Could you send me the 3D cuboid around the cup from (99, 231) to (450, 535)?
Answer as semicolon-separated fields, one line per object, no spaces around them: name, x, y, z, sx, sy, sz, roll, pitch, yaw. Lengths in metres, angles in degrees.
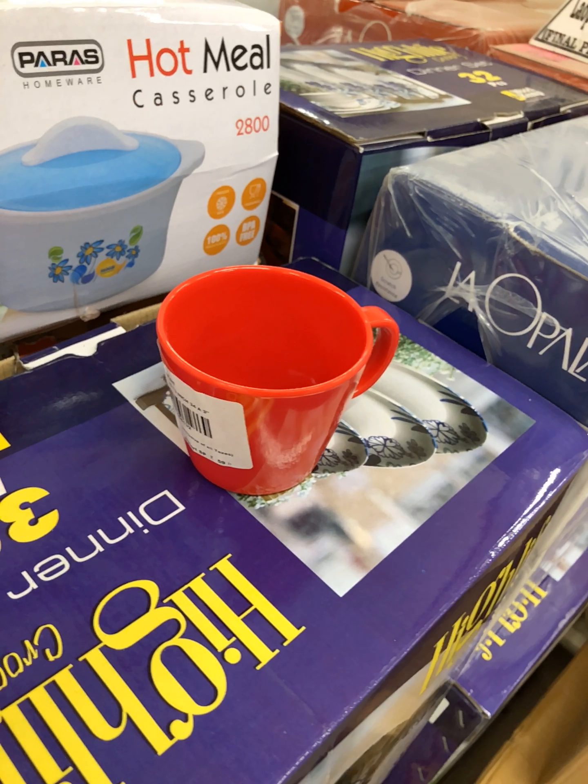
cup;-0.007;-0.012;0.252;0.080;0.050;0.101;36;45;28
